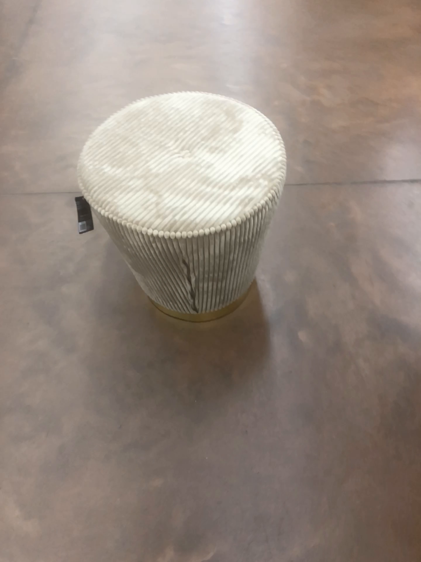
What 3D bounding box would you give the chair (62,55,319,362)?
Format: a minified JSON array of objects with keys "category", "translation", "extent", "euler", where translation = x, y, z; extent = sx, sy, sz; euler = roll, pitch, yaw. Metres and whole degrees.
[{"category":"chair","translation":[-0.059,-0.160,1.117],"extent":[0.420,0.479,0.451],"euler":[-14,56,-6]}]
